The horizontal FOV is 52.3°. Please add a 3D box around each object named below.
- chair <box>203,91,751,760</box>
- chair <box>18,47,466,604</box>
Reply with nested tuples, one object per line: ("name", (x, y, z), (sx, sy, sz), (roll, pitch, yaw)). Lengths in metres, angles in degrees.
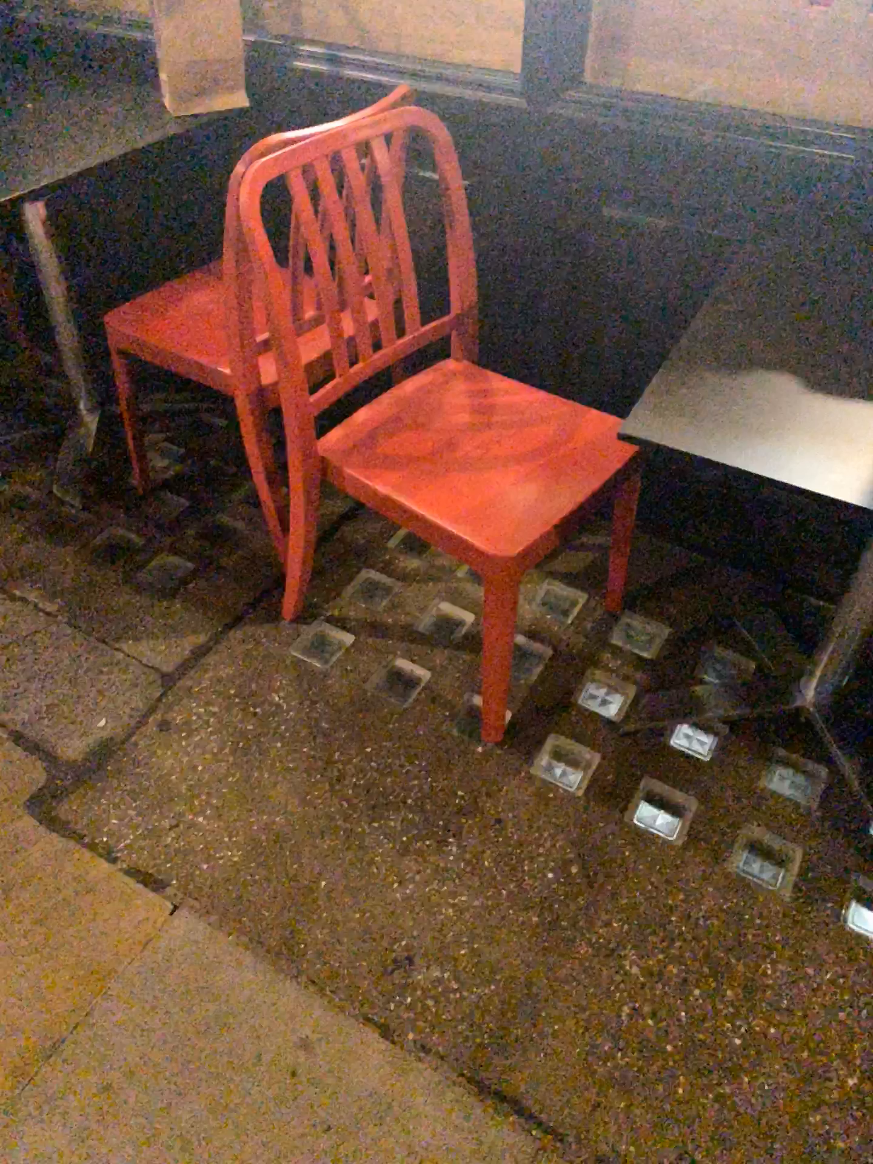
("chair", (0.065, -0.281, 1.543), (0.562, 0.851, 0.574), (26, 46, 25))
("chair", (-0.329, -0.525, 1.814), (0.541, 0.851, 0.544), (23, 45, 23))
